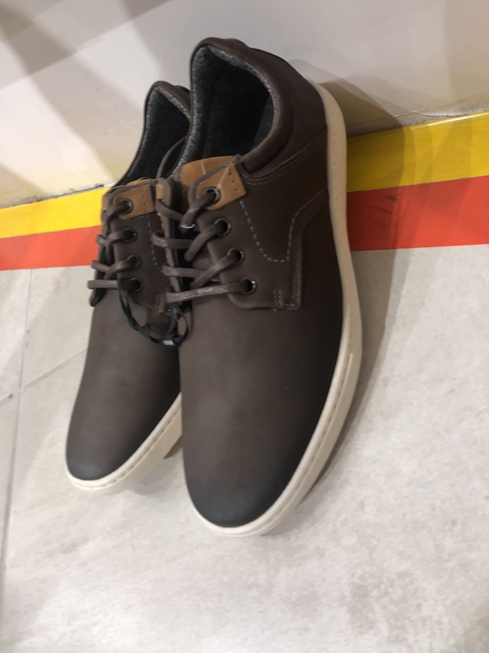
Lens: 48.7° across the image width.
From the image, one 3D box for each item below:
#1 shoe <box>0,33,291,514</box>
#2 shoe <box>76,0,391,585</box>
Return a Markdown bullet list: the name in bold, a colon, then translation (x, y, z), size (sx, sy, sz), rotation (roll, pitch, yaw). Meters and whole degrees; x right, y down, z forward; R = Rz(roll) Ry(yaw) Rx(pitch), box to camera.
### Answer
- **shoe**: translation (-0.064, -0.029, 0.357), size (0.100, 0.099, 0.270), rotation (3, 75, 39)
- **shoe**: translation (0.005, -0.026, 0.288), size (0.100, 0.099, 0.270), rotation (-4, 74, 37)
